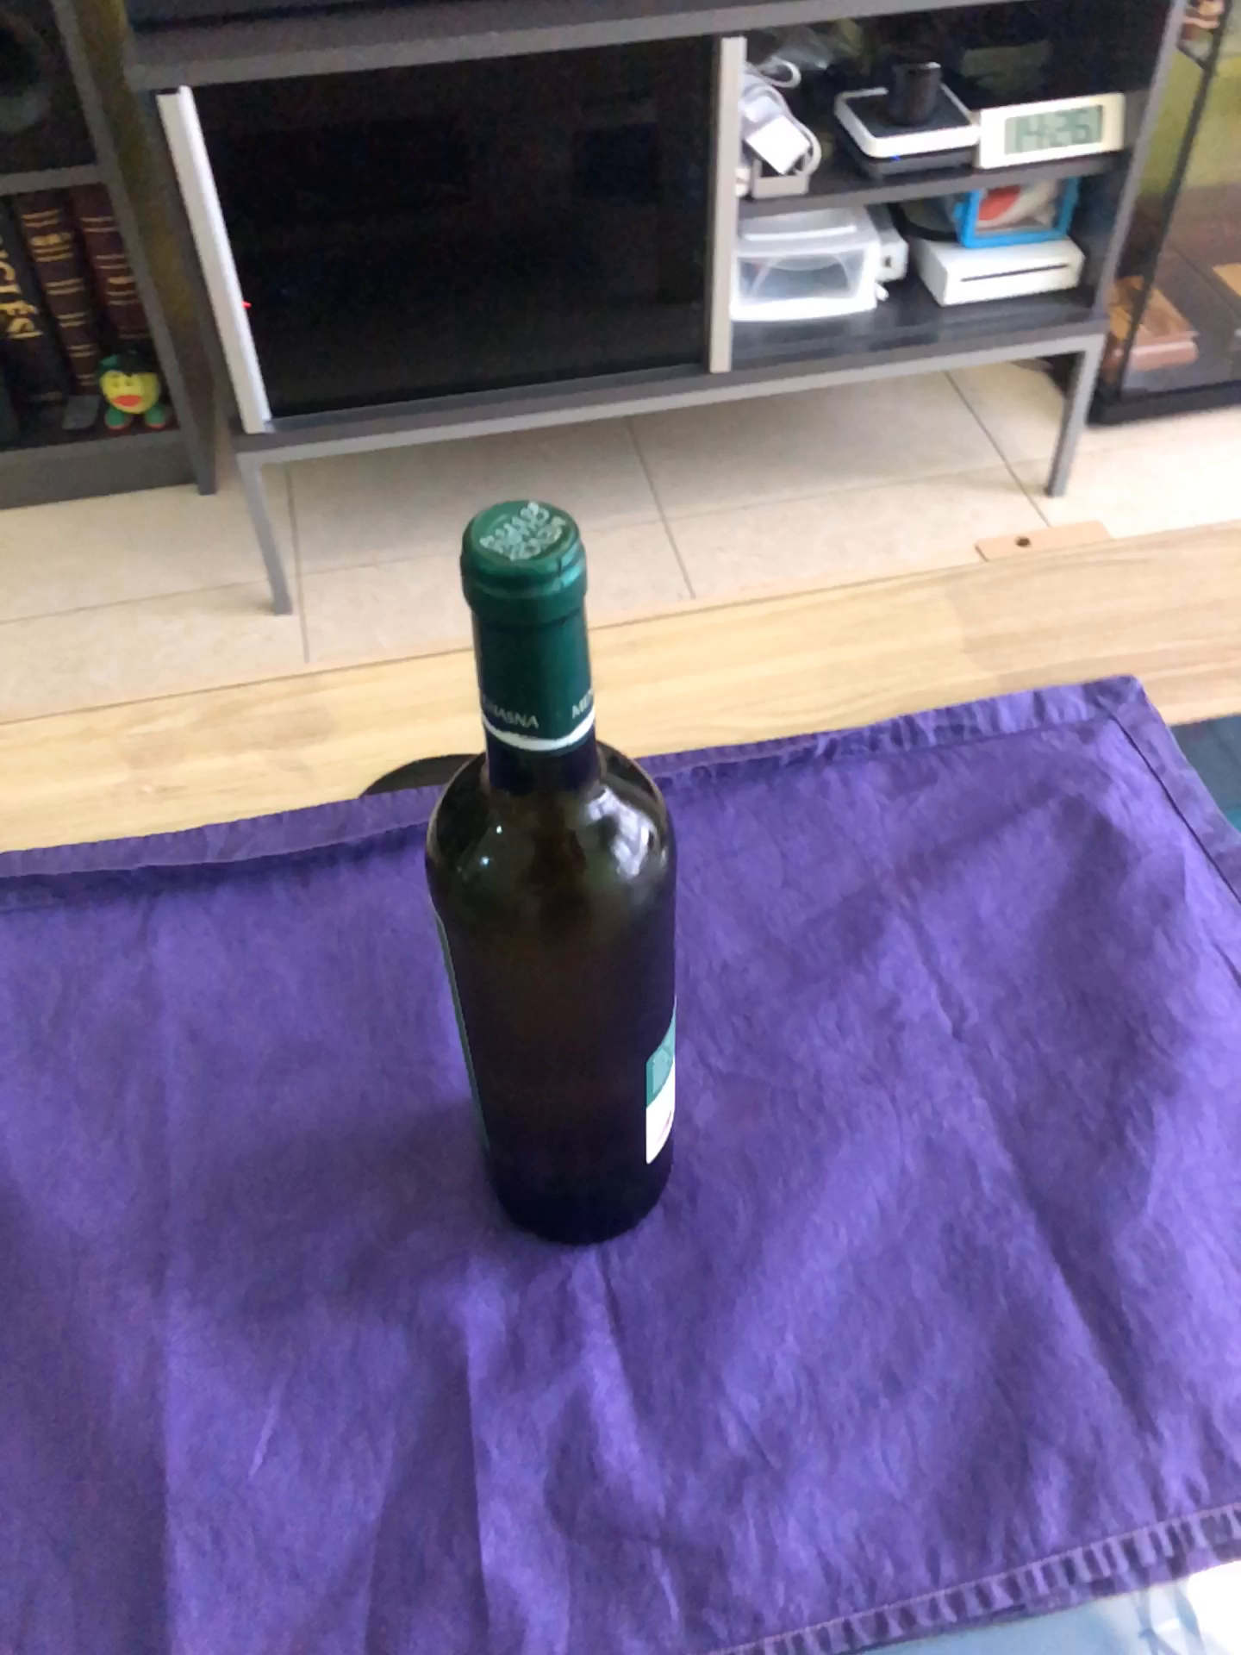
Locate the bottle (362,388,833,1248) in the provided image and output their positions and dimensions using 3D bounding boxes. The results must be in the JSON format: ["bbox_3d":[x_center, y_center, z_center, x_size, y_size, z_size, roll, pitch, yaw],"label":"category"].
[{"bbox_3d":[0.002,0.019,0.402,0.090,0.269,0.090,-1,50,1],"label":"bottle"}]
